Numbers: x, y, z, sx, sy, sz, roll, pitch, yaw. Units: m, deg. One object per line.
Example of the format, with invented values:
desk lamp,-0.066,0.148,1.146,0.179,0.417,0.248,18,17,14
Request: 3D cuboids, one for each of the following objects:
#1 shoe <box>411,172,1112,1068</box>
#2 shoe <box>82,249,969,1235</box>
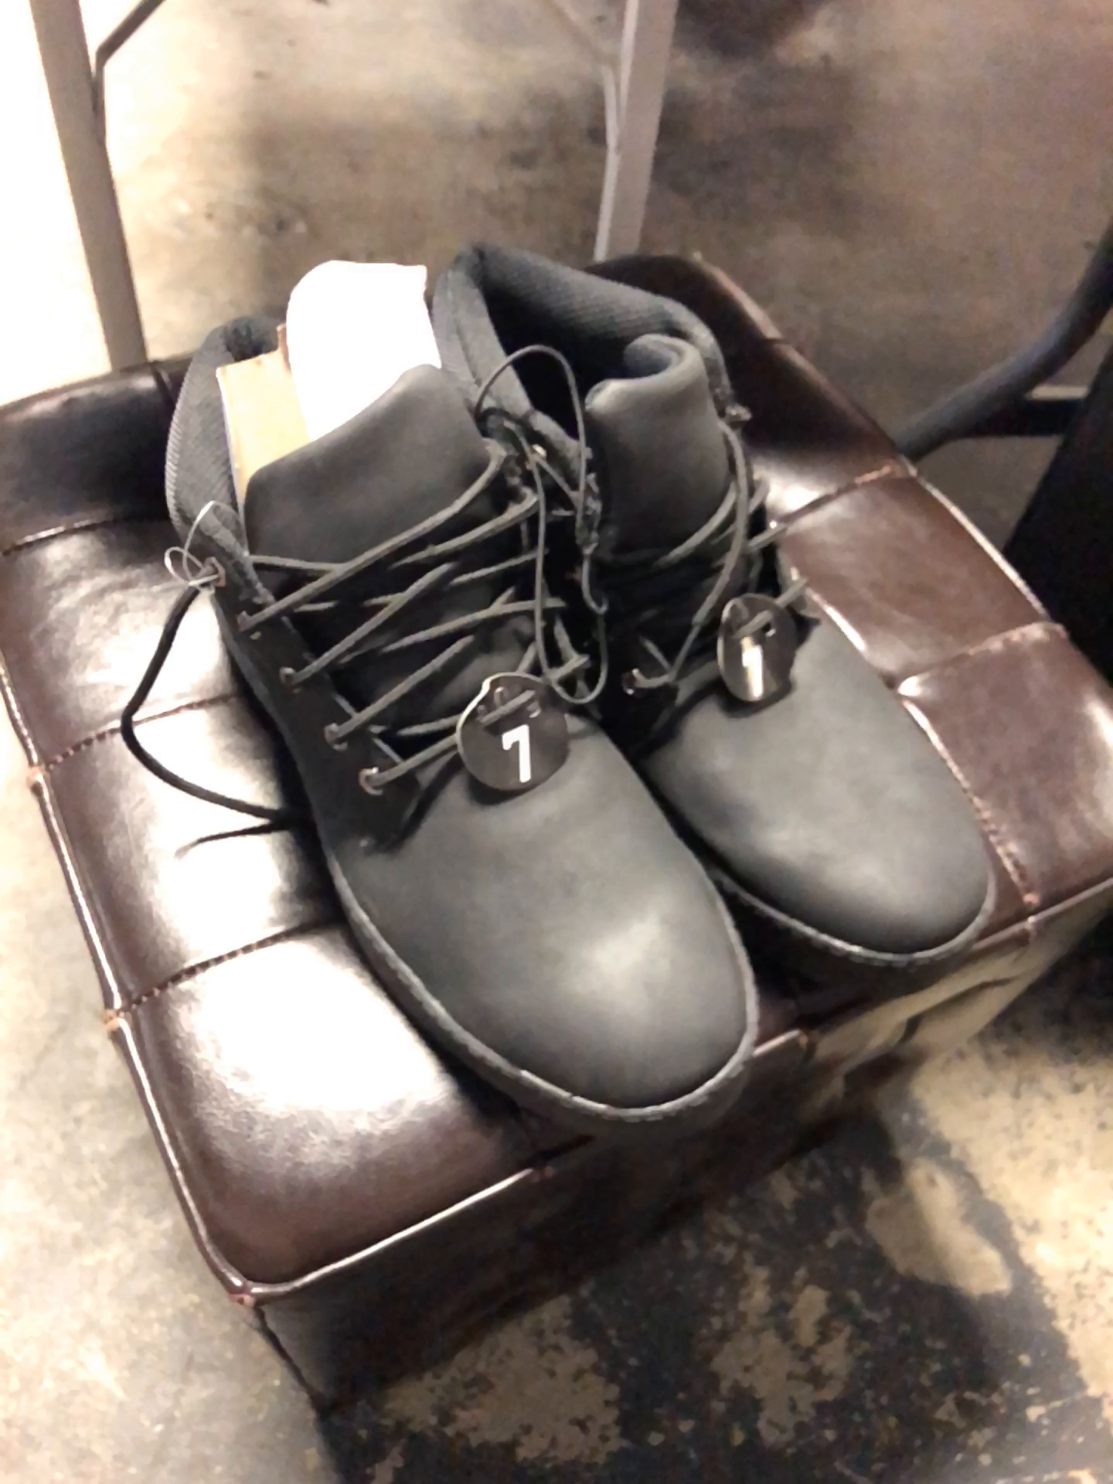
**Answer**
shoe,0.059,-0.041,0.381,0.100,0.139,0.221,-29,64,-25
shoe,-0.027,-0.007,0.384,0.100,0.139,0.261,-29,64,-25
